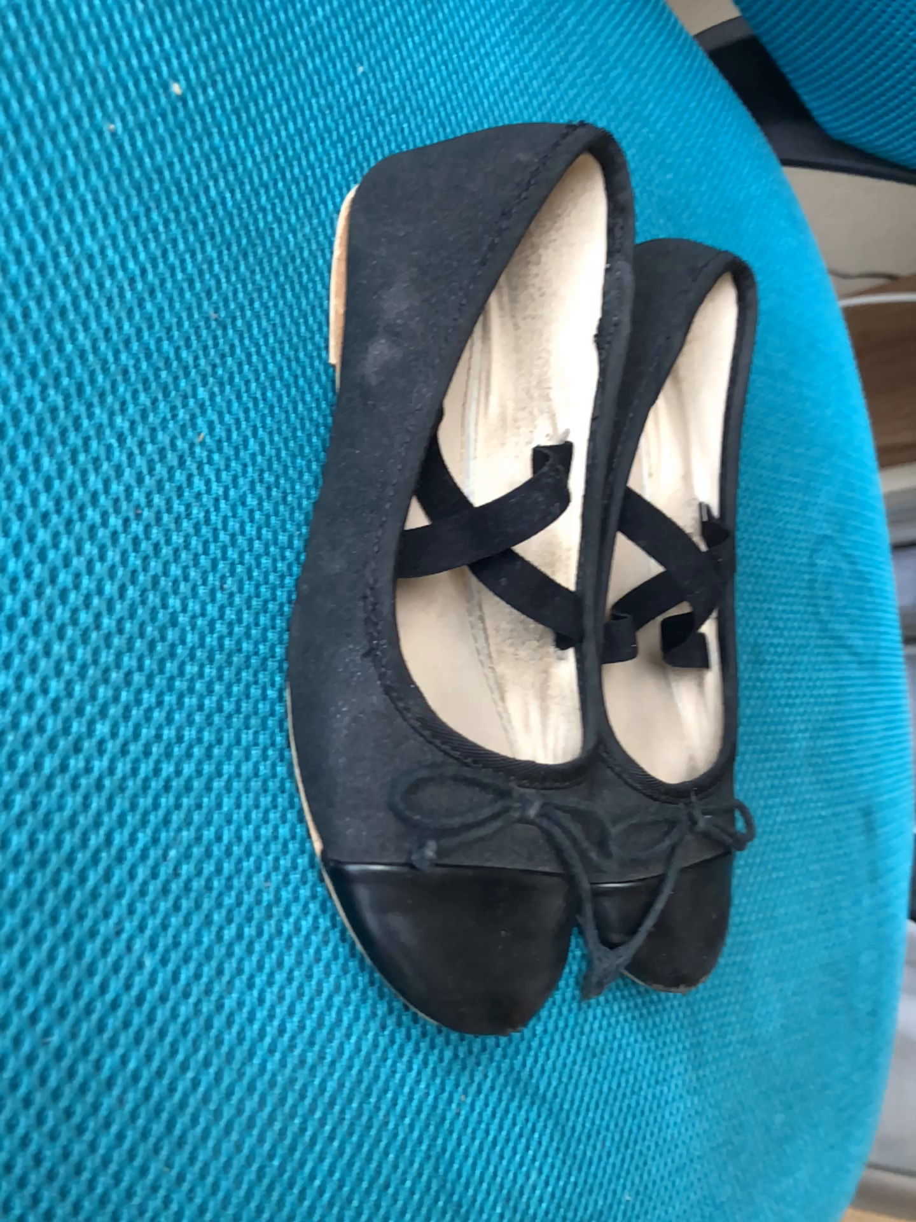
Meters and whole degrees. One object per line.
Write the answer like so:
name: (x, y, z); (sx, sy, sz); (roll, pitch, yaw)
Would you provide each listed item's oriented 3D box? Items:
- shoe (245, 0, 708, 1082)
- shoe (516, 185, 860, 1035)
shoe: (0.007, -0.016, 0.218); (0.081, 0.050, 0.194); (12, 74, -47)
shoe: (0.059, 0.000, 0.267); (0.069, 0.050, 0.190); (9, 76, -47)
